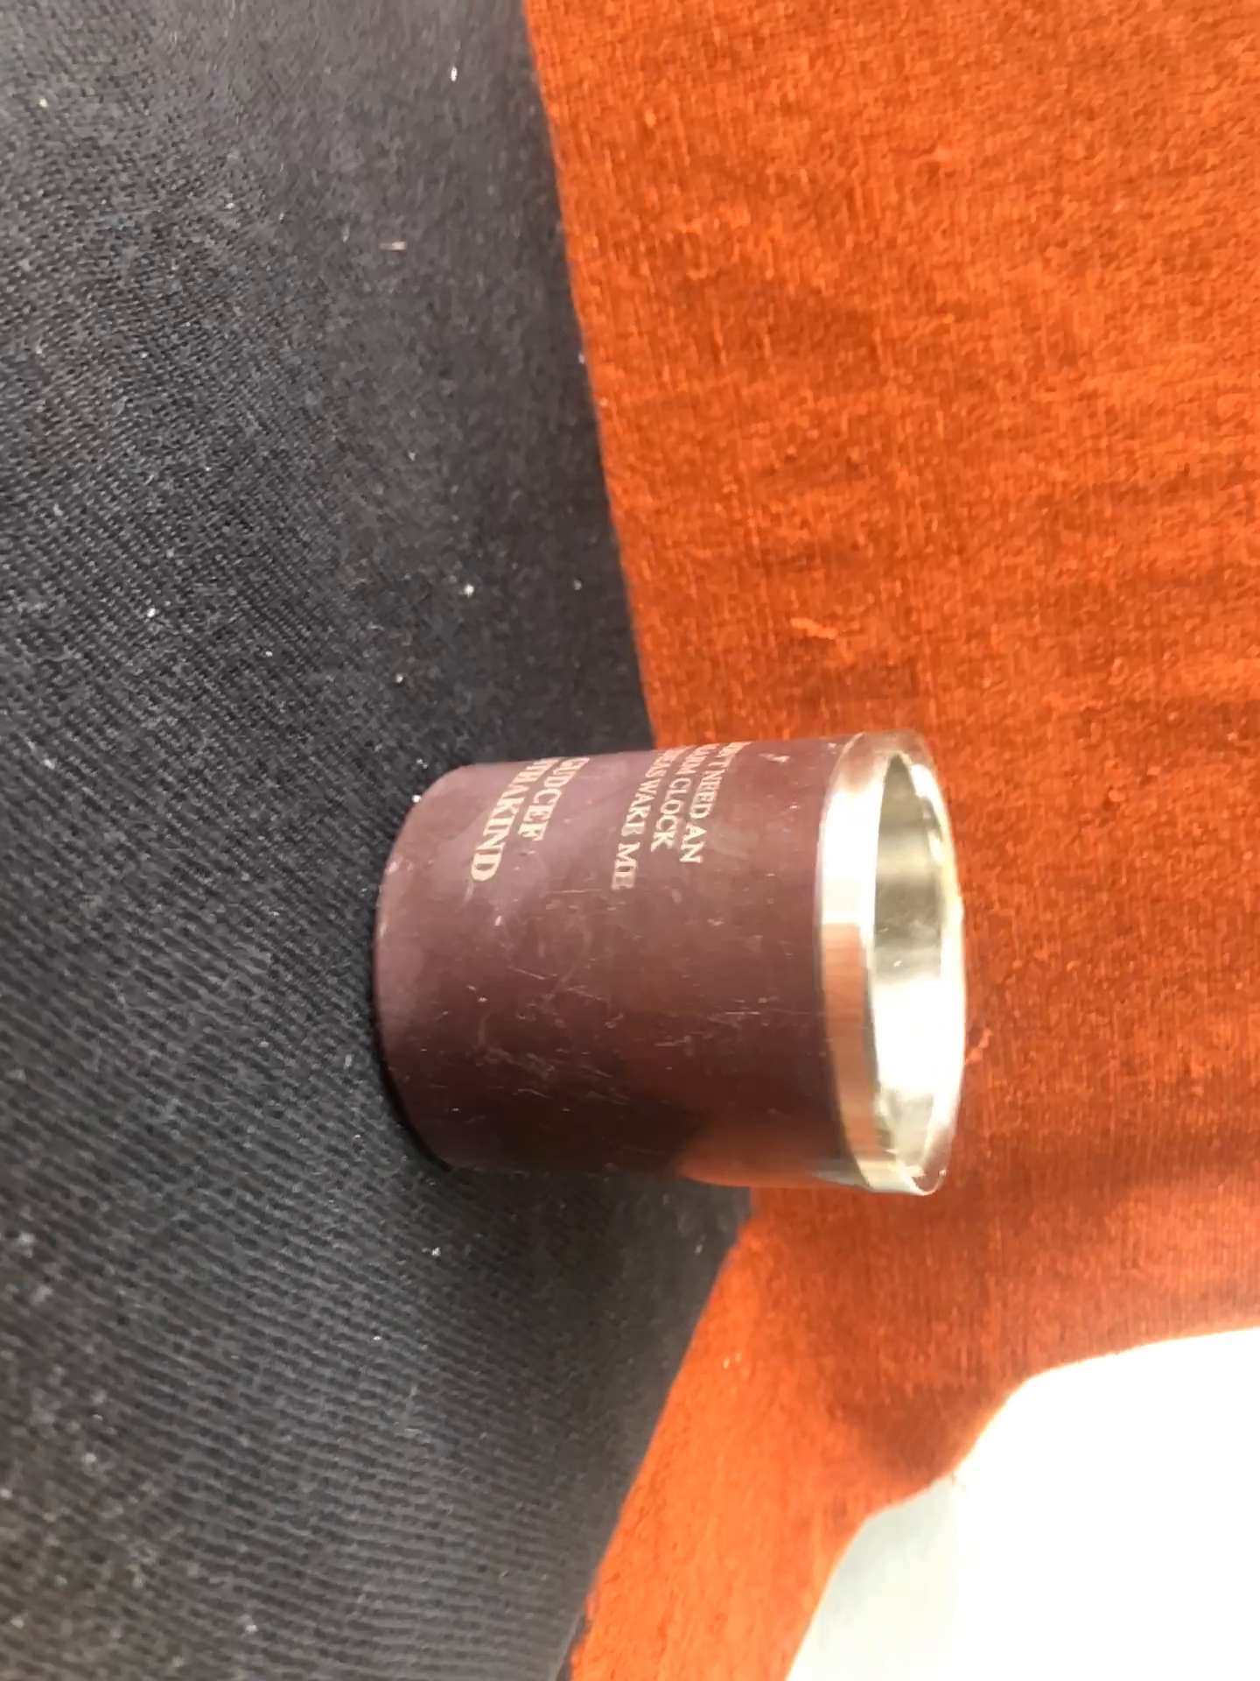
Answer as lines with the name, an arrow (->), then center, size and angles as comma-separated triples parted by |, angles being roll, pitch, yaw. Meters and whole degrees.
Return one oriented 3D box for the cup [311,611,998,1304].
cup -> 0.016, 0.015, 0.274 | 0.111, 0.089, 0.090 | -44, 128, -62
